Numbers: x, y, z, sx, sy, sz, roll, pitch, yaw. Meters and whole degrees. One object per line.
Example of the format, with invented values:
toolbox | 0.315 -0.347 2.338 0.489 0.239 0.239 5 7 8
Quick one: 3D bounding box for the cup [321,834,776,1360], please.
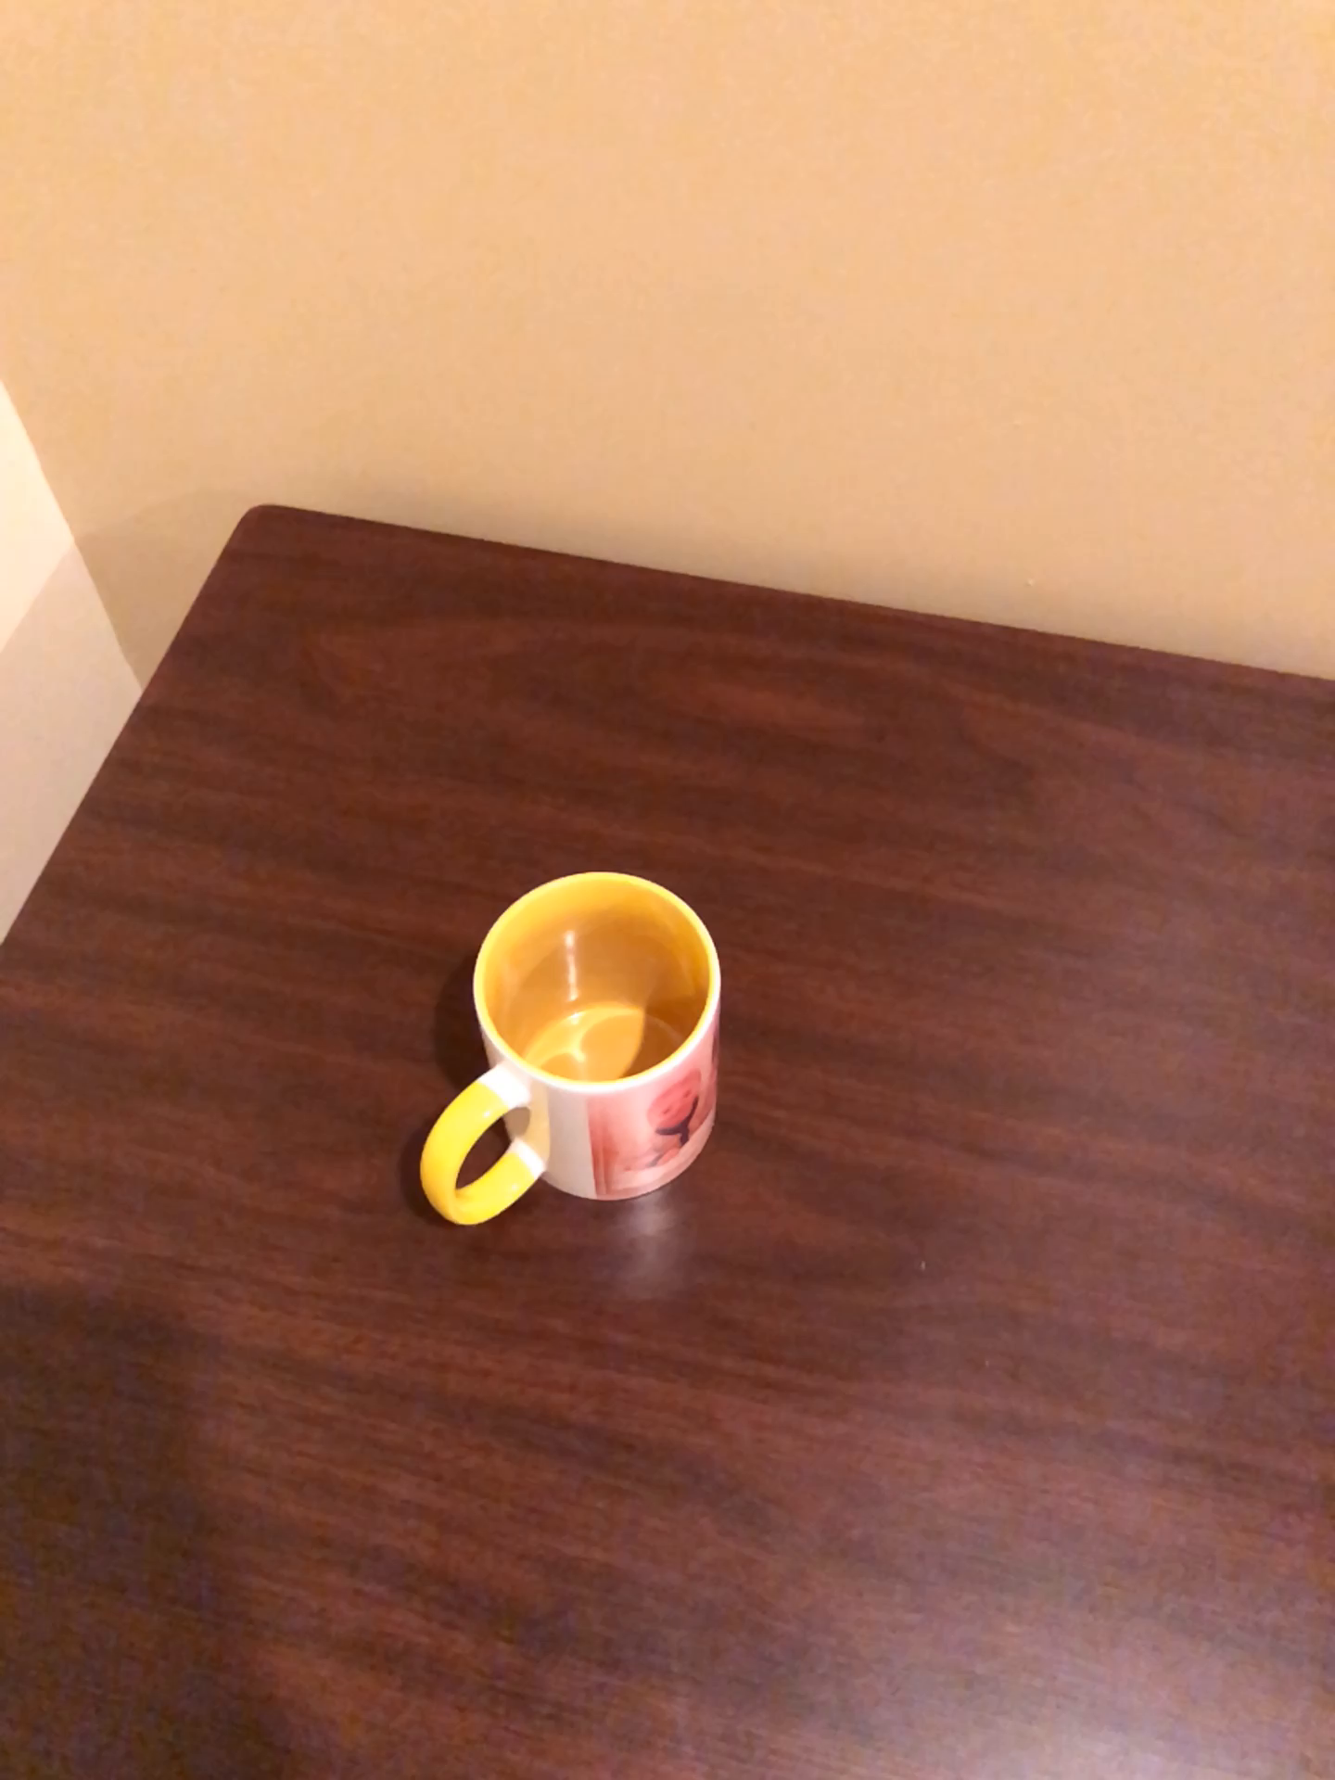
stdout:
cup | -0.035 0.071 0.504 0.090 0.100 0.120 28 61 18
